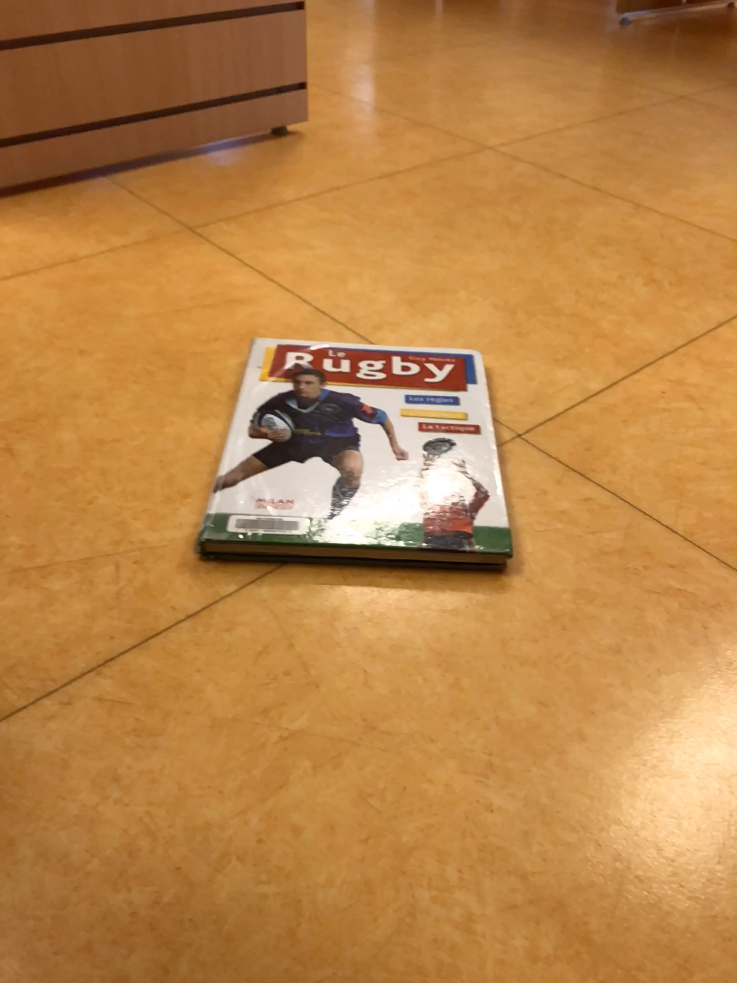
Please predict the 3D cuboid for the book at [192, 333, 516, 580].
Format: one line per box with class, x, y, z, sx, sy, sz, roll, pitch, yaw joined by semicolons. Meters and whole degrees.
book;-0.005;-0.040;0.615;0.203;0.024;0.262;3;40;0
